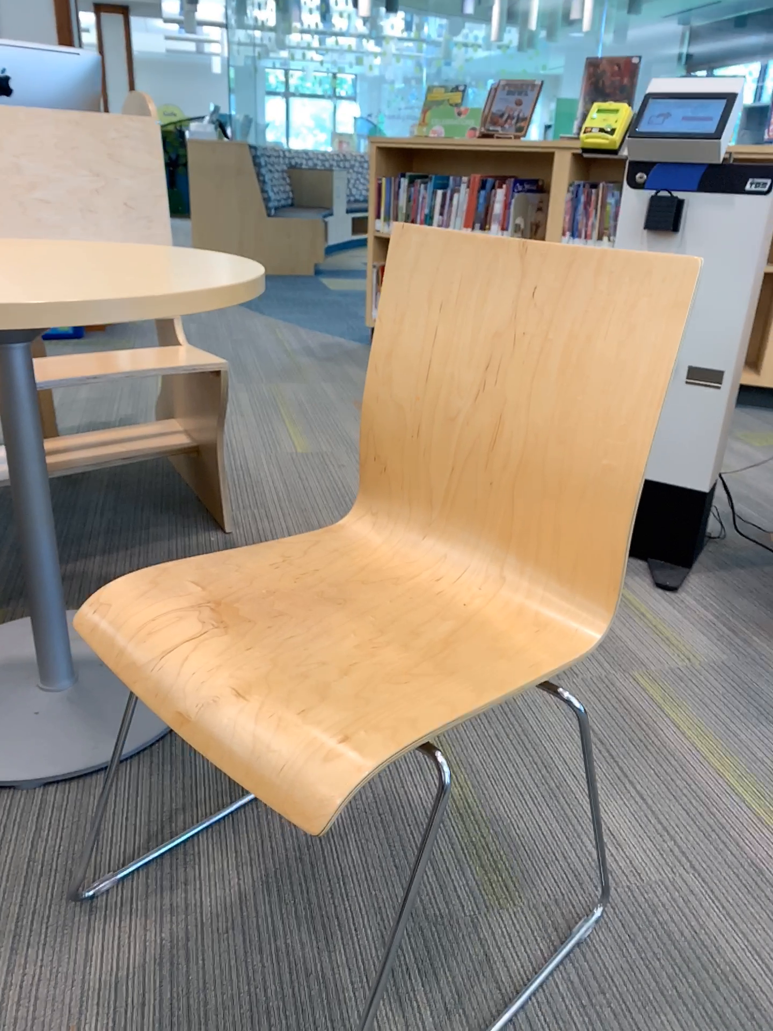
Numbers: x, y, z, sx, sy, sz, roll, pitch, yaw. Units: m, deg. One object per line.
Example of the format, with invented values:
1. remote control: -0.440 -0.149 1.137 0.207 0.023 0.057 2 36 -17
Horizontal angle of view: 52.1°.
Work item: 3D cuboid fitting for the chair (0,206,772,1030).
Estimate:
1. chair: -0.019 0.101 0.892 0.561 0.807 0.621 22 30 38
